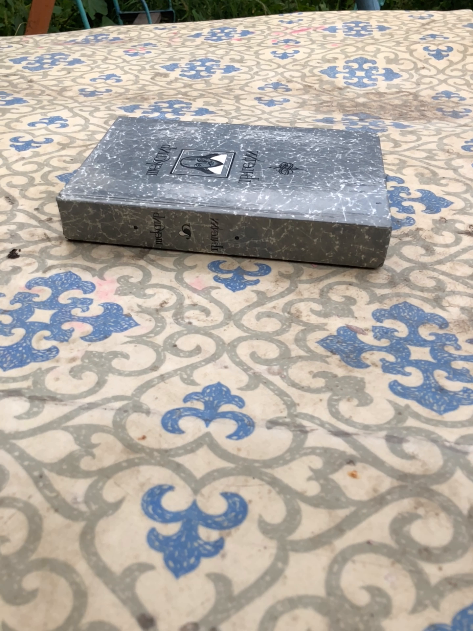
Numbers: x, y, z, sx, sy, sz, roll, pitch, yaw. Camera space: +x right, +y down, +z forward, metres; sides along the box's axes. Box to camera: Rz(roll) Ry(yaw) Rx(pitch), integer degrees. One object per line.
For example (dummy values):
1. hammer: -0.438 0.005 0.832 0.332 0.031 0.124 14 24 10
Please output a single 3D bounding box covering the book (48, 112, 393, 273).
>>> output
1. book: -0.004 -0.094 0.371 0.207 0.033 0.135 6 42 4
